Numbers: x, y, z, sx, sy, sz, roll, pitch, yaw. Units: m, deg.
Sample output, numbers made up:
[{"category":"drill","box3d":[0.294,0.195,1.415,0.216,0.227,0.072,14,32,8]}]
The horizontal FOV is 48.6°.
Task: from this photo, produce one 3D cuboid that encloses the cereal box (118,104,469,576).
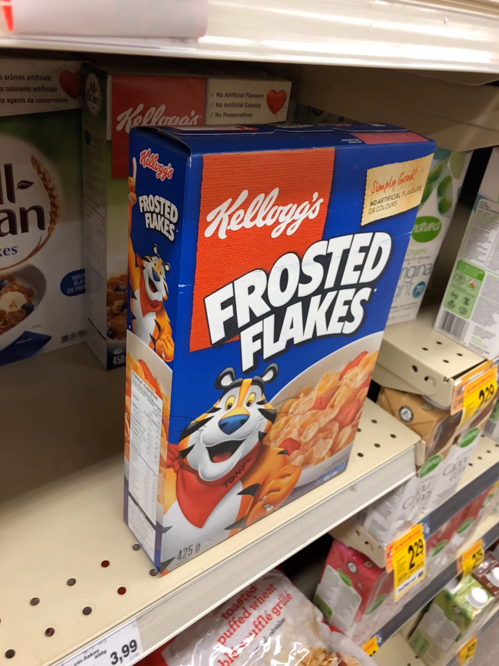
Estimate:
[{"category":"cereal box","box3d":[0.023,-0.001,0.374,0.211,0.278,0.060,-17,37,-35]}]
